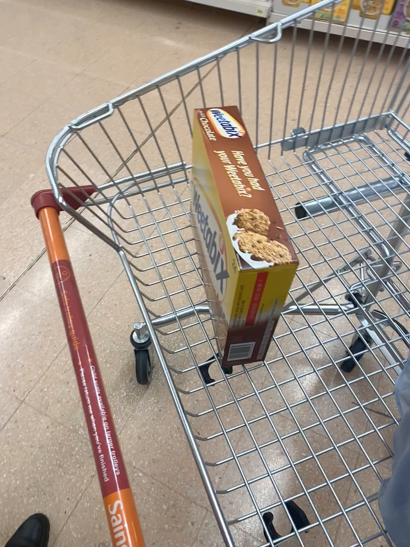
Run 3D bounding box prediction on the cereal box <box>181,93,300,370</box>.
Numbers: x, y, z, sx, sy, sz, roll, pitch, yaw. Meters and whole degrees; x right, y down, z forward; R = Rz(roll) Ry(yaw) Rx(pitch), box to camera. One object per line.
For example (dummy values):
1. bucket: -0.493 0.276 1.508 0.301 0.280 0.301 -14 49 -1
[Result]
1. cereal box: 0.022 -0.048 0.482 0.060 0.189 0.252 -7 55 -7
